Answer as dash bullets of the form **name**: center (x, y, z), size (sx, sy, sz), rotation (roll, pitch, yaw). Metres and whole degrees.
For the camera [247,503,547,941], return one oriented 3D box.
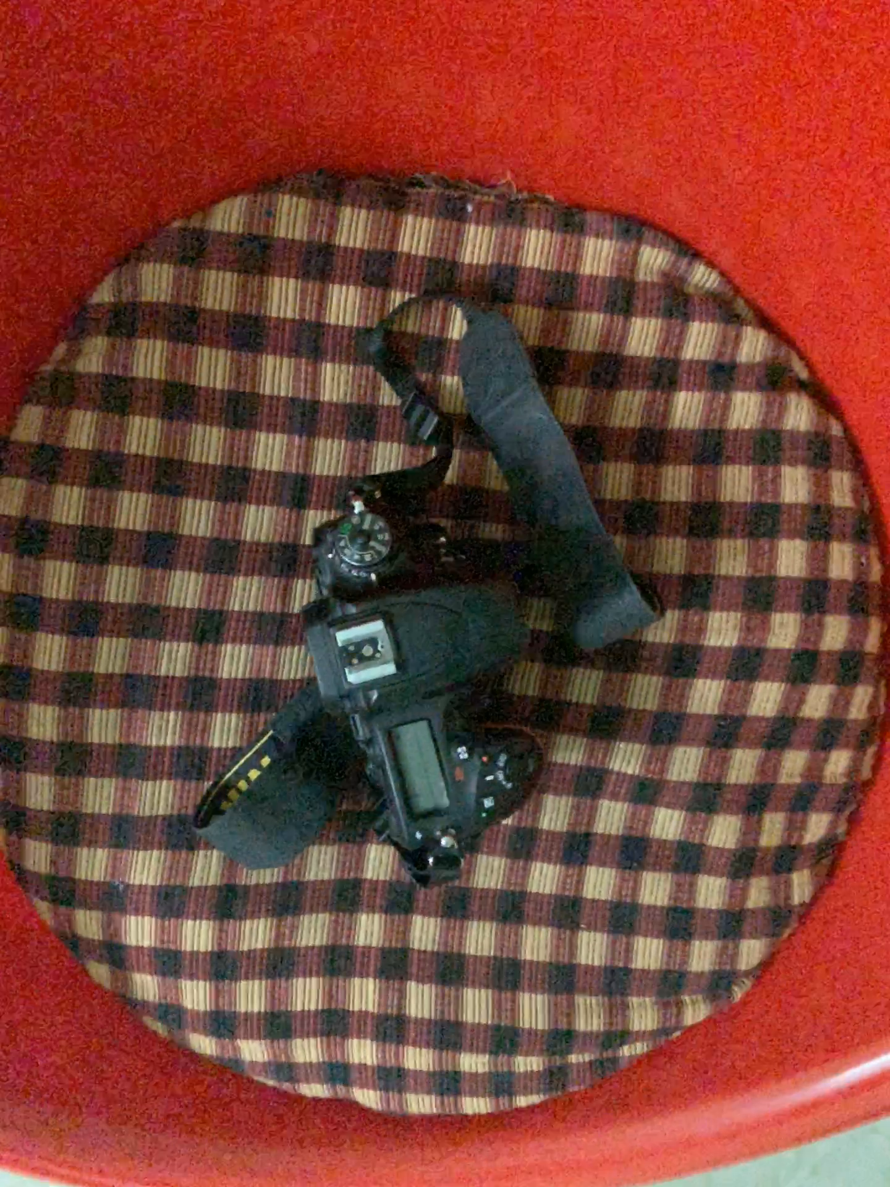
- **camera**: center (-0.016, 0.044, 0.362), size (0.080, 0.090, 0.140), rotation (-10, 100, 0)
